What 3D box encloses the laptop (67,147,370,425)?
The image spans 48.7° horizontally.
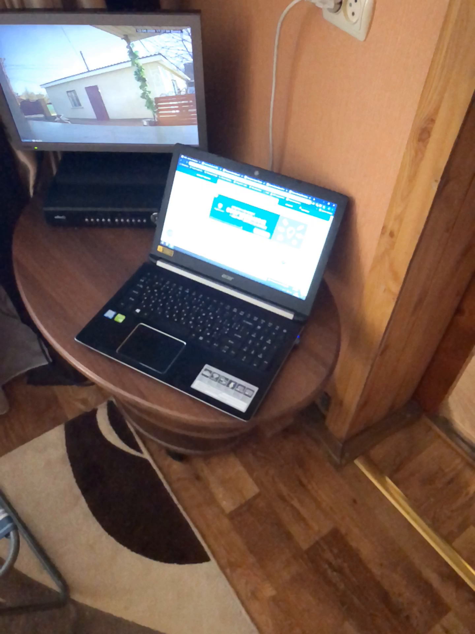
[{"bbox_3d":[-0.015,-0.081,0.967,0.372,0.186,0.392,22,54,17],"label":"laptop"}]
